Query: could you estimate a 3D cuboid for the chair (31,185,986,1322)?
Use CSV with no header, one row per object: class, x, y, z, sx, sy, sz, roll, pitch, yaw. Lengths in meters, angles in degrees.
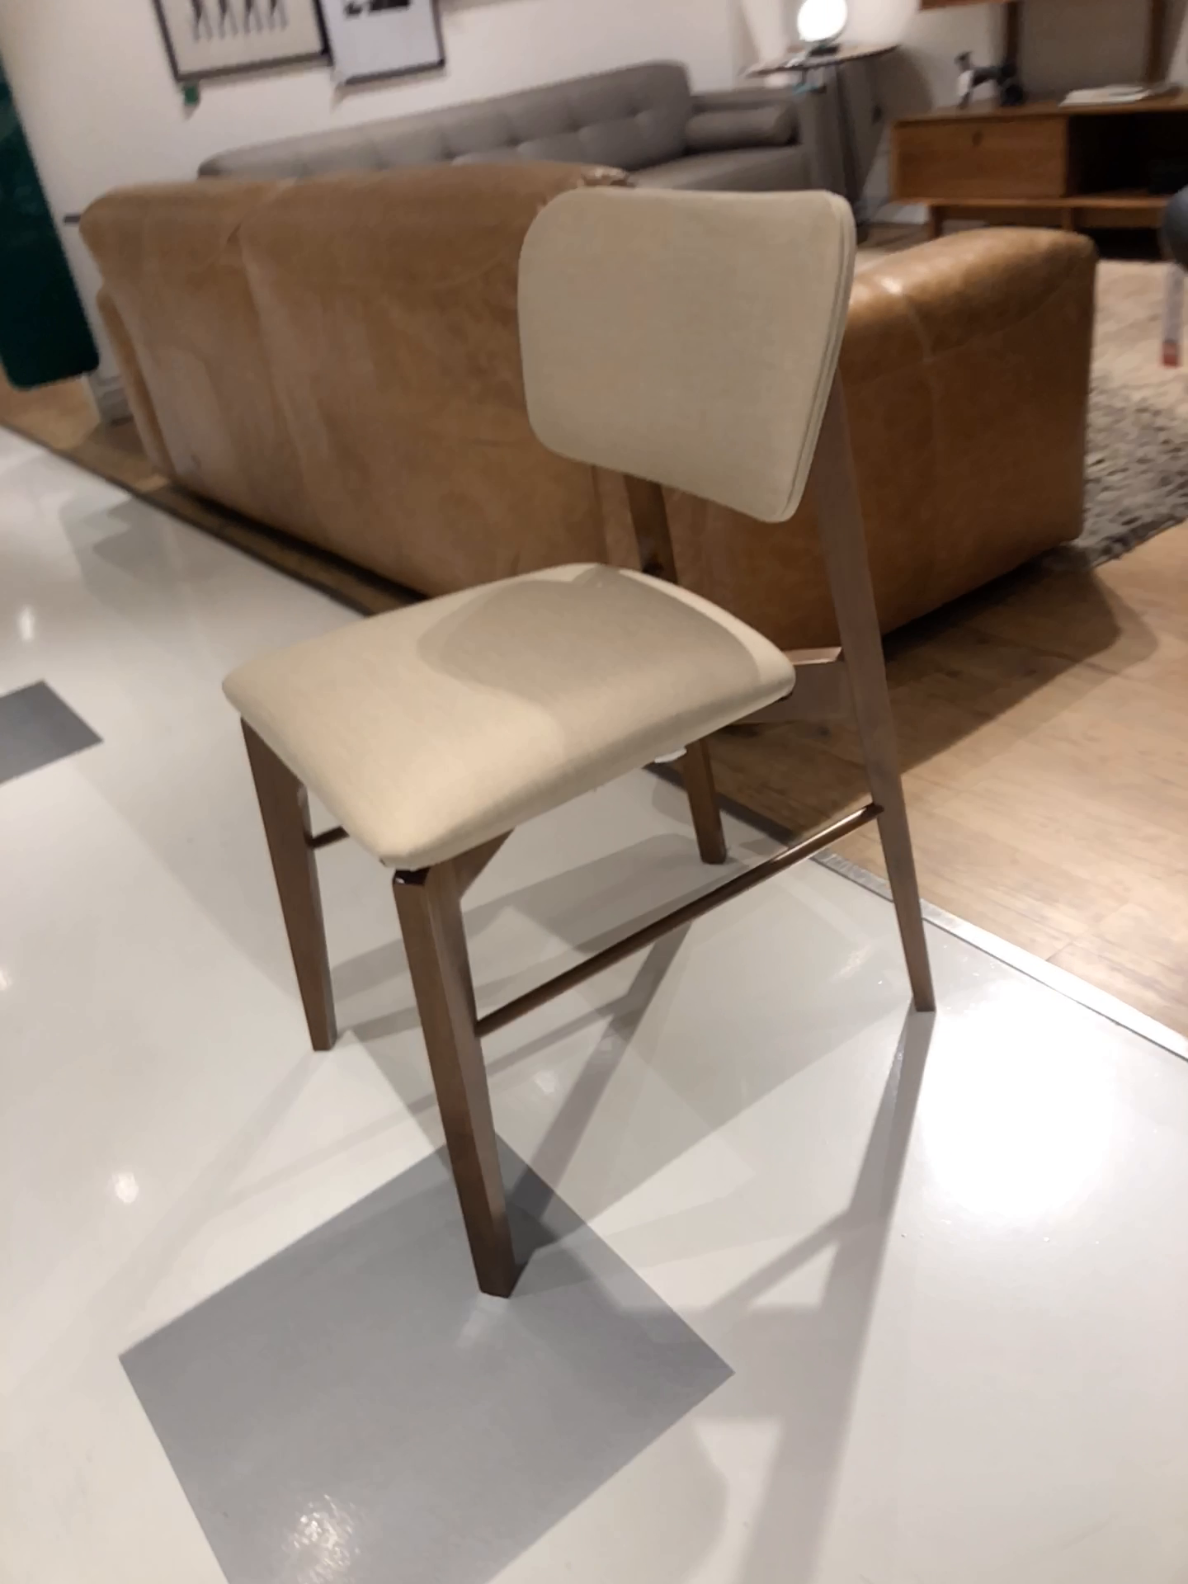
chair,-0.042,-0.088,1.216,0.591,0.764,0.513,-24,33,-22
